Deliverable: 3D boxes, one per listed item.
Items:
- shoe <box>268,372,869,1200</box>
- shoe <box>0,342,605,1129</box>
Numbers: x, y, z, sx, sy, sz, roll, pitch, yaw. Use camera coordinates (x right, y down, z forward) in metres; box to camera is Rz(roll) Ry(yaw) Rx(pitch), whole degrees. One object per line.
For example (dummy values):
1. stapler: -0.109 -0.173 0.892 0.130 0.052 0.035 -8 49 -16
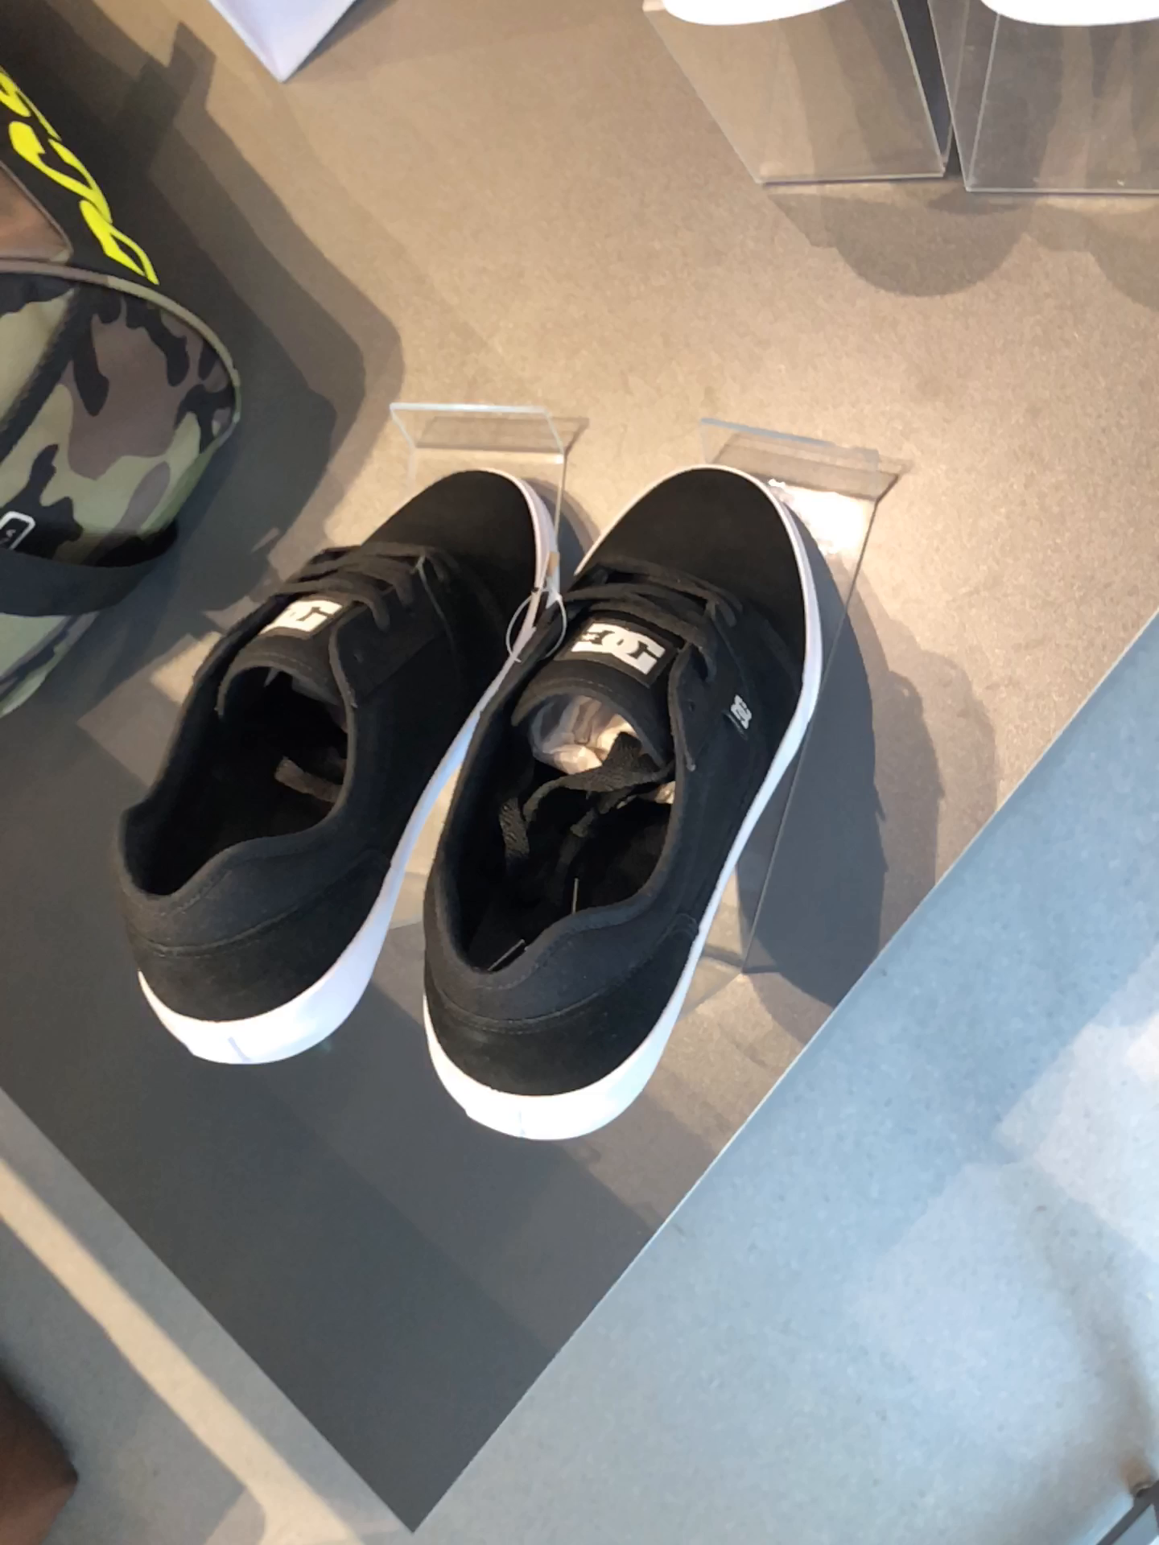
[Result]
1. shoe: 0.014 -0.006 0.411 0.106 0.107 0.229 11 58 16
2. shoe: -0.081 -0.022 0.425 0.106 0.107 0.229 10 57 16
